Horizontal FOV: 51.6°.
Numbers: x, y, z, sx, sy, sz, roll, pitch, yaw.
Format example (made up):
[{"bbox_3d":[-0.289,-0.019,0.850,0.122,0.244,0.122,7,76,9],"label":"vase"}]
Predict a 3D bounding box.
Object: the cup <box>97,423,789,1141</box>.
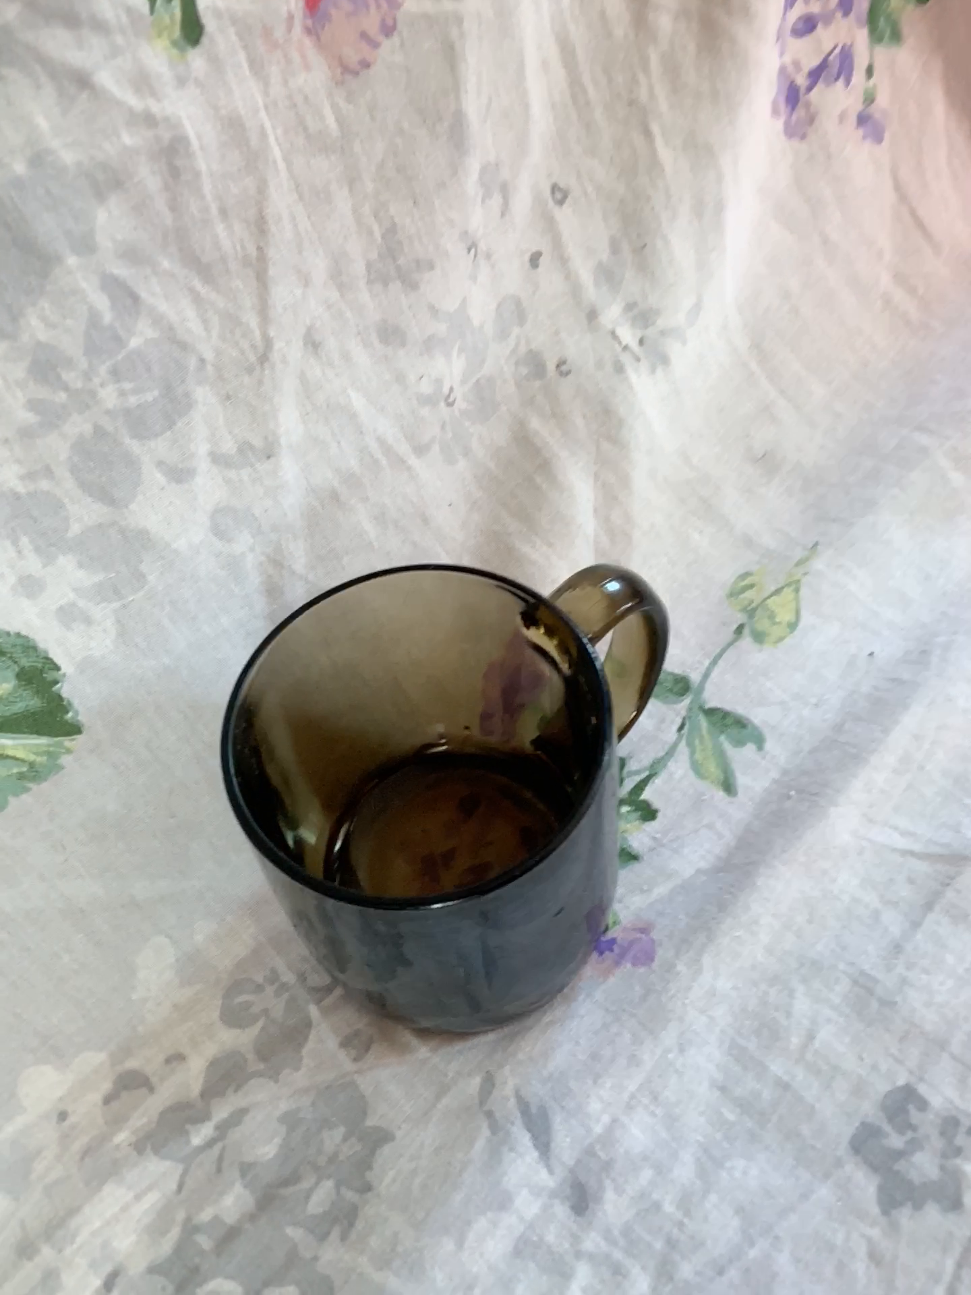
[{"bbox_3d":[-0.002,0.034,0.243,0.081,0.099,0.120,34,67,25],"label":"cup"}]
